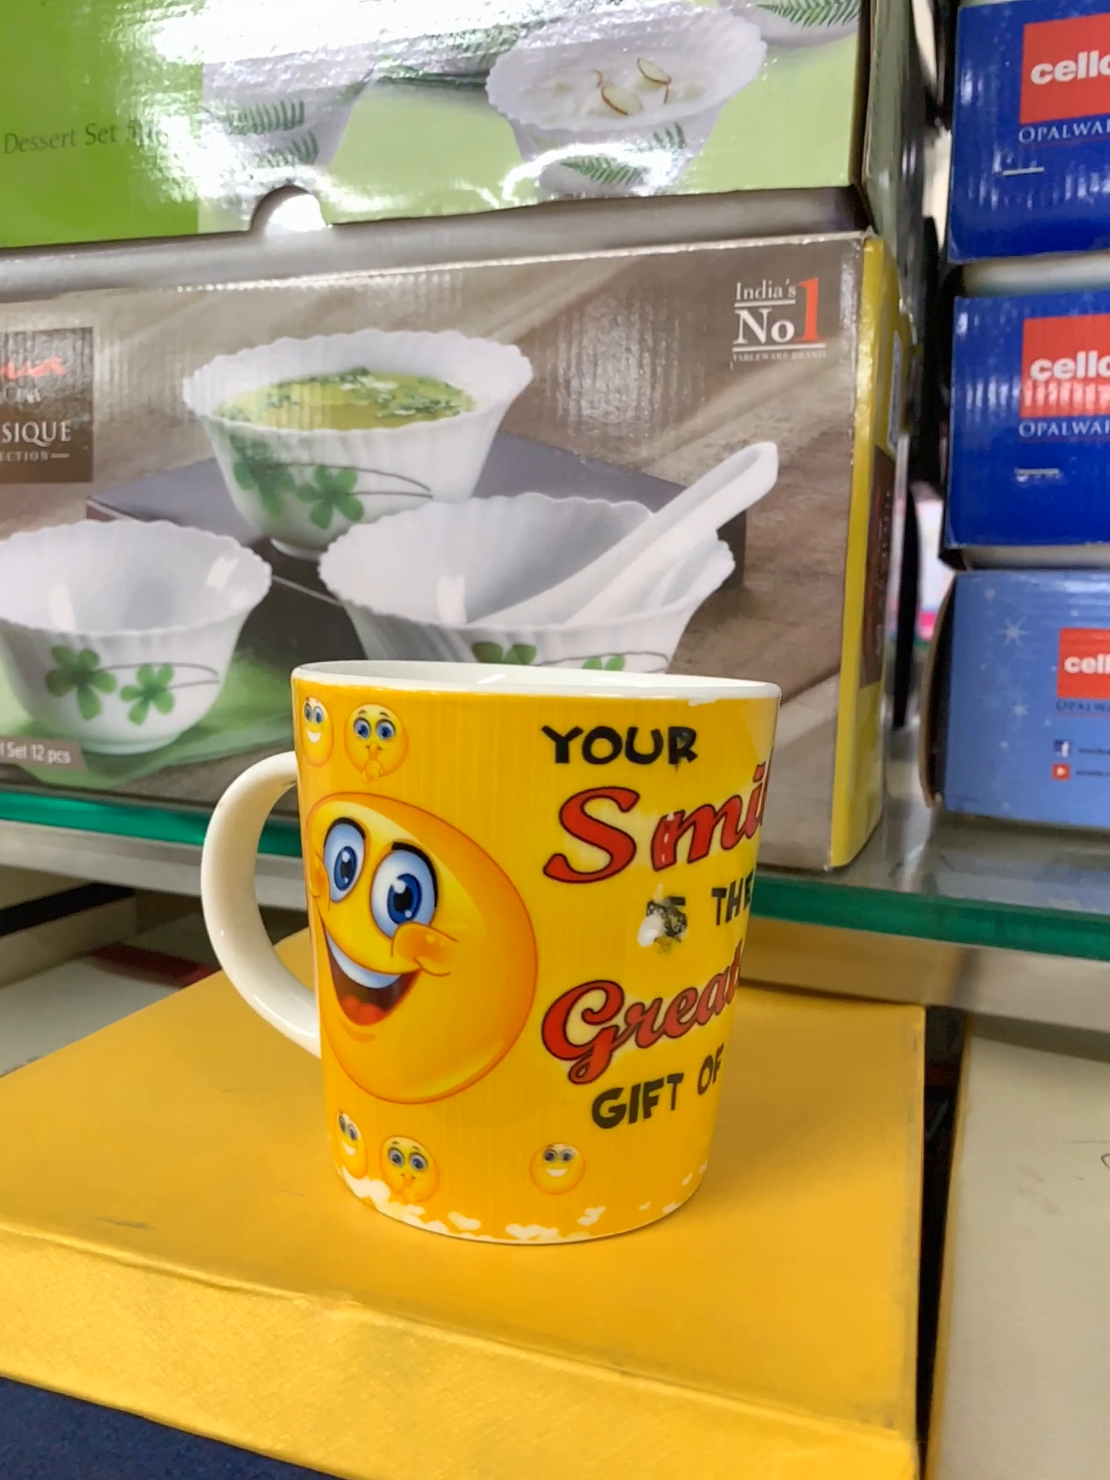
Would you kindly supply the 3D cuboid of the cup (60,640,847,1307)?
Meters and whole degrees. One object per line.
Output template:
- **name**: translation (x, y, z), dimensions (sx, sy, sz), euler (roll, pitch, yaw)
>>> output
- **cup**: translation (-0.018, 0.027, 0.209), dimensions (0.119, 0.081, 0.072), euler (6, 8, 27)
